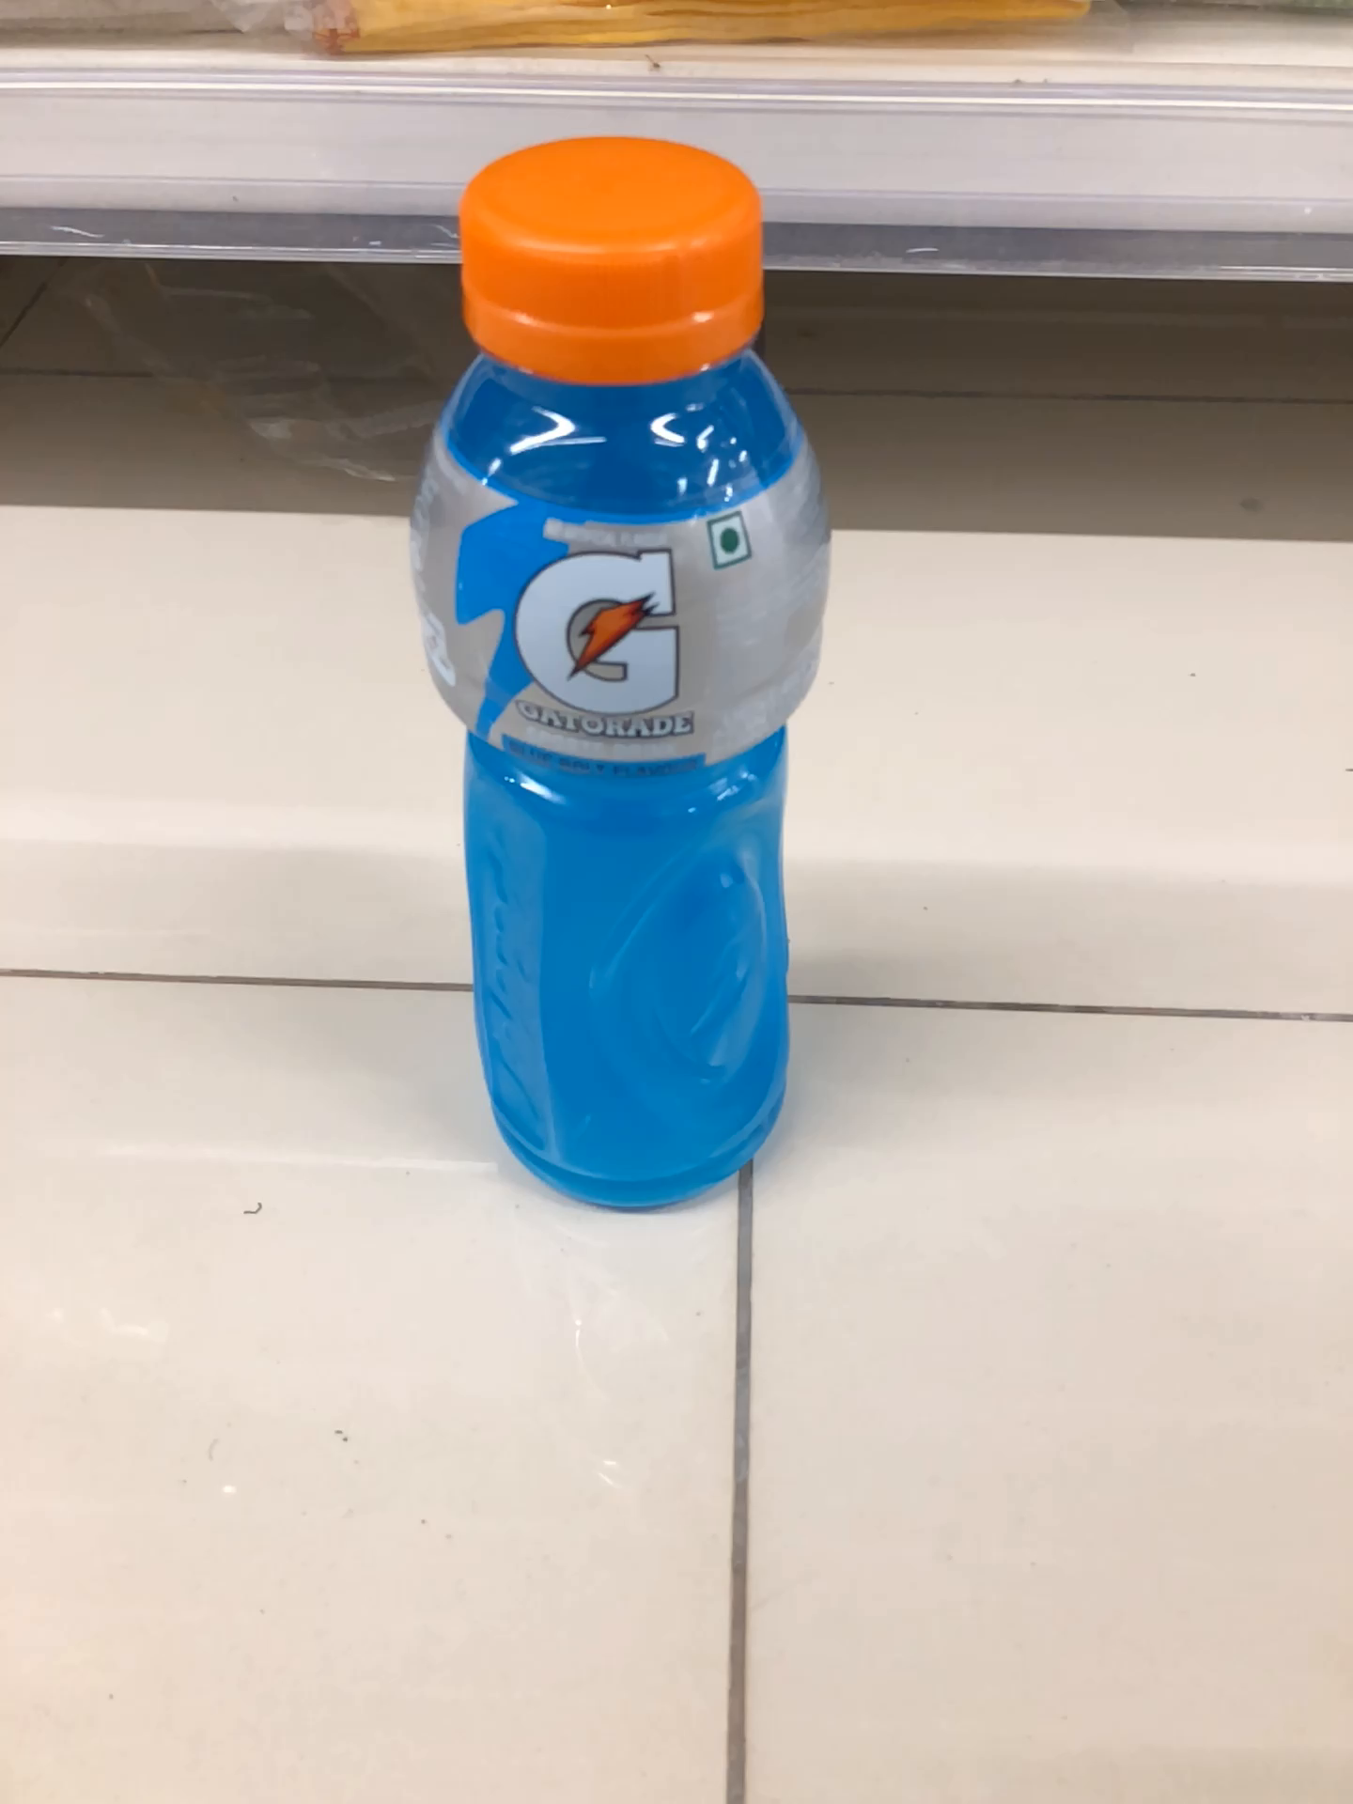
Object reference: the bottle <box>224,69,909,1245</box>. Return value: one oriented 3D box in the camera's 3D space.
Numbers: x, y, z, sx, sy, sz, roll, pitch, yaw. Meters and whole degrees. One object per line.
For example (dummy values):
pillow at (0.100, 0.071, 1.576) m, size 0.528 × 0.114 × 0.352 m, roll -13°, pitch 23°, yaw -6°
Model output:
bottle at (-0.010, -0.028, 0.261) m, size 0.070 × 0.189 × 0.070 m, roll 0°, pitch 46°, yaw 0°
